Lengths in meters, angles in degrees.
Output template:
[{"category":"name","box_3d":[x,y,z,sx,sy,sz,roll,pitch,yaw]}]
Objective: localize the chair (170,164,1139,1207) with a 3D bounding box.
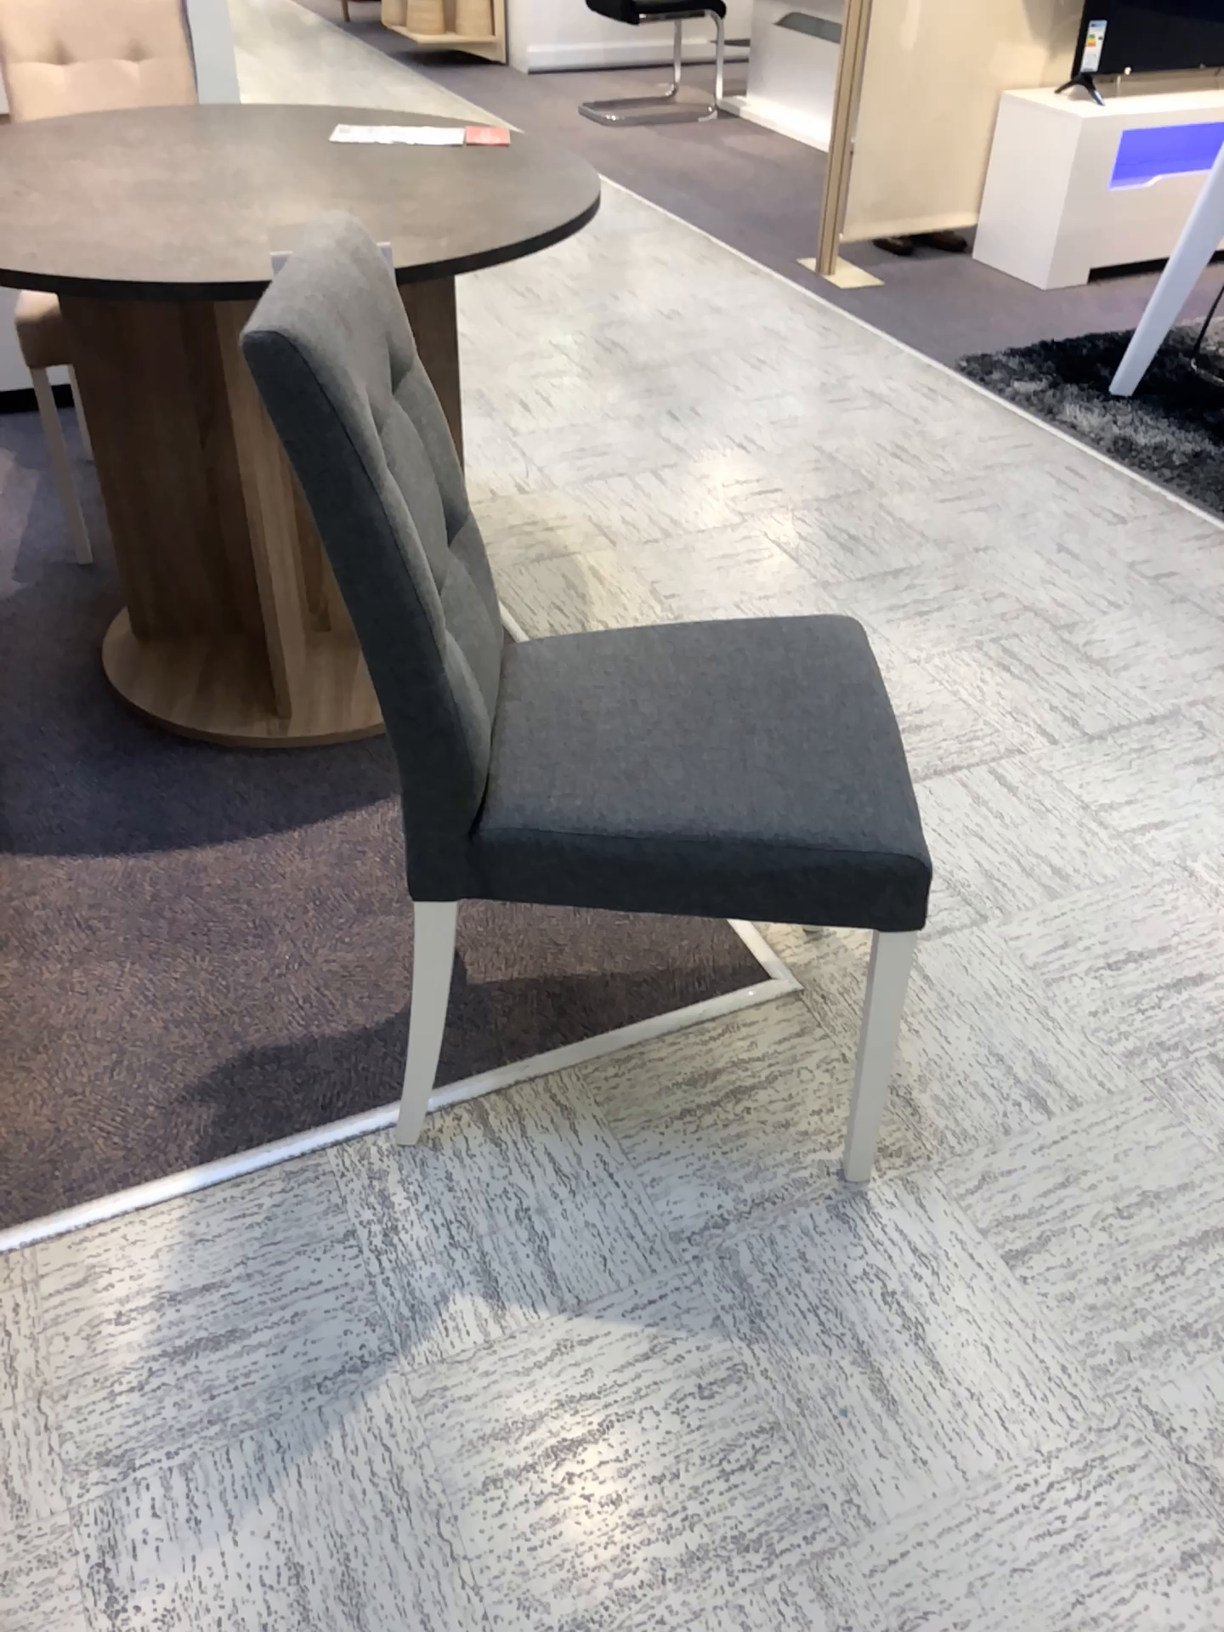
[{"category":"chair","box_3d":[0.021,-0.094,1.232,0.580,0.825,0.463,1,37,-1]}]
